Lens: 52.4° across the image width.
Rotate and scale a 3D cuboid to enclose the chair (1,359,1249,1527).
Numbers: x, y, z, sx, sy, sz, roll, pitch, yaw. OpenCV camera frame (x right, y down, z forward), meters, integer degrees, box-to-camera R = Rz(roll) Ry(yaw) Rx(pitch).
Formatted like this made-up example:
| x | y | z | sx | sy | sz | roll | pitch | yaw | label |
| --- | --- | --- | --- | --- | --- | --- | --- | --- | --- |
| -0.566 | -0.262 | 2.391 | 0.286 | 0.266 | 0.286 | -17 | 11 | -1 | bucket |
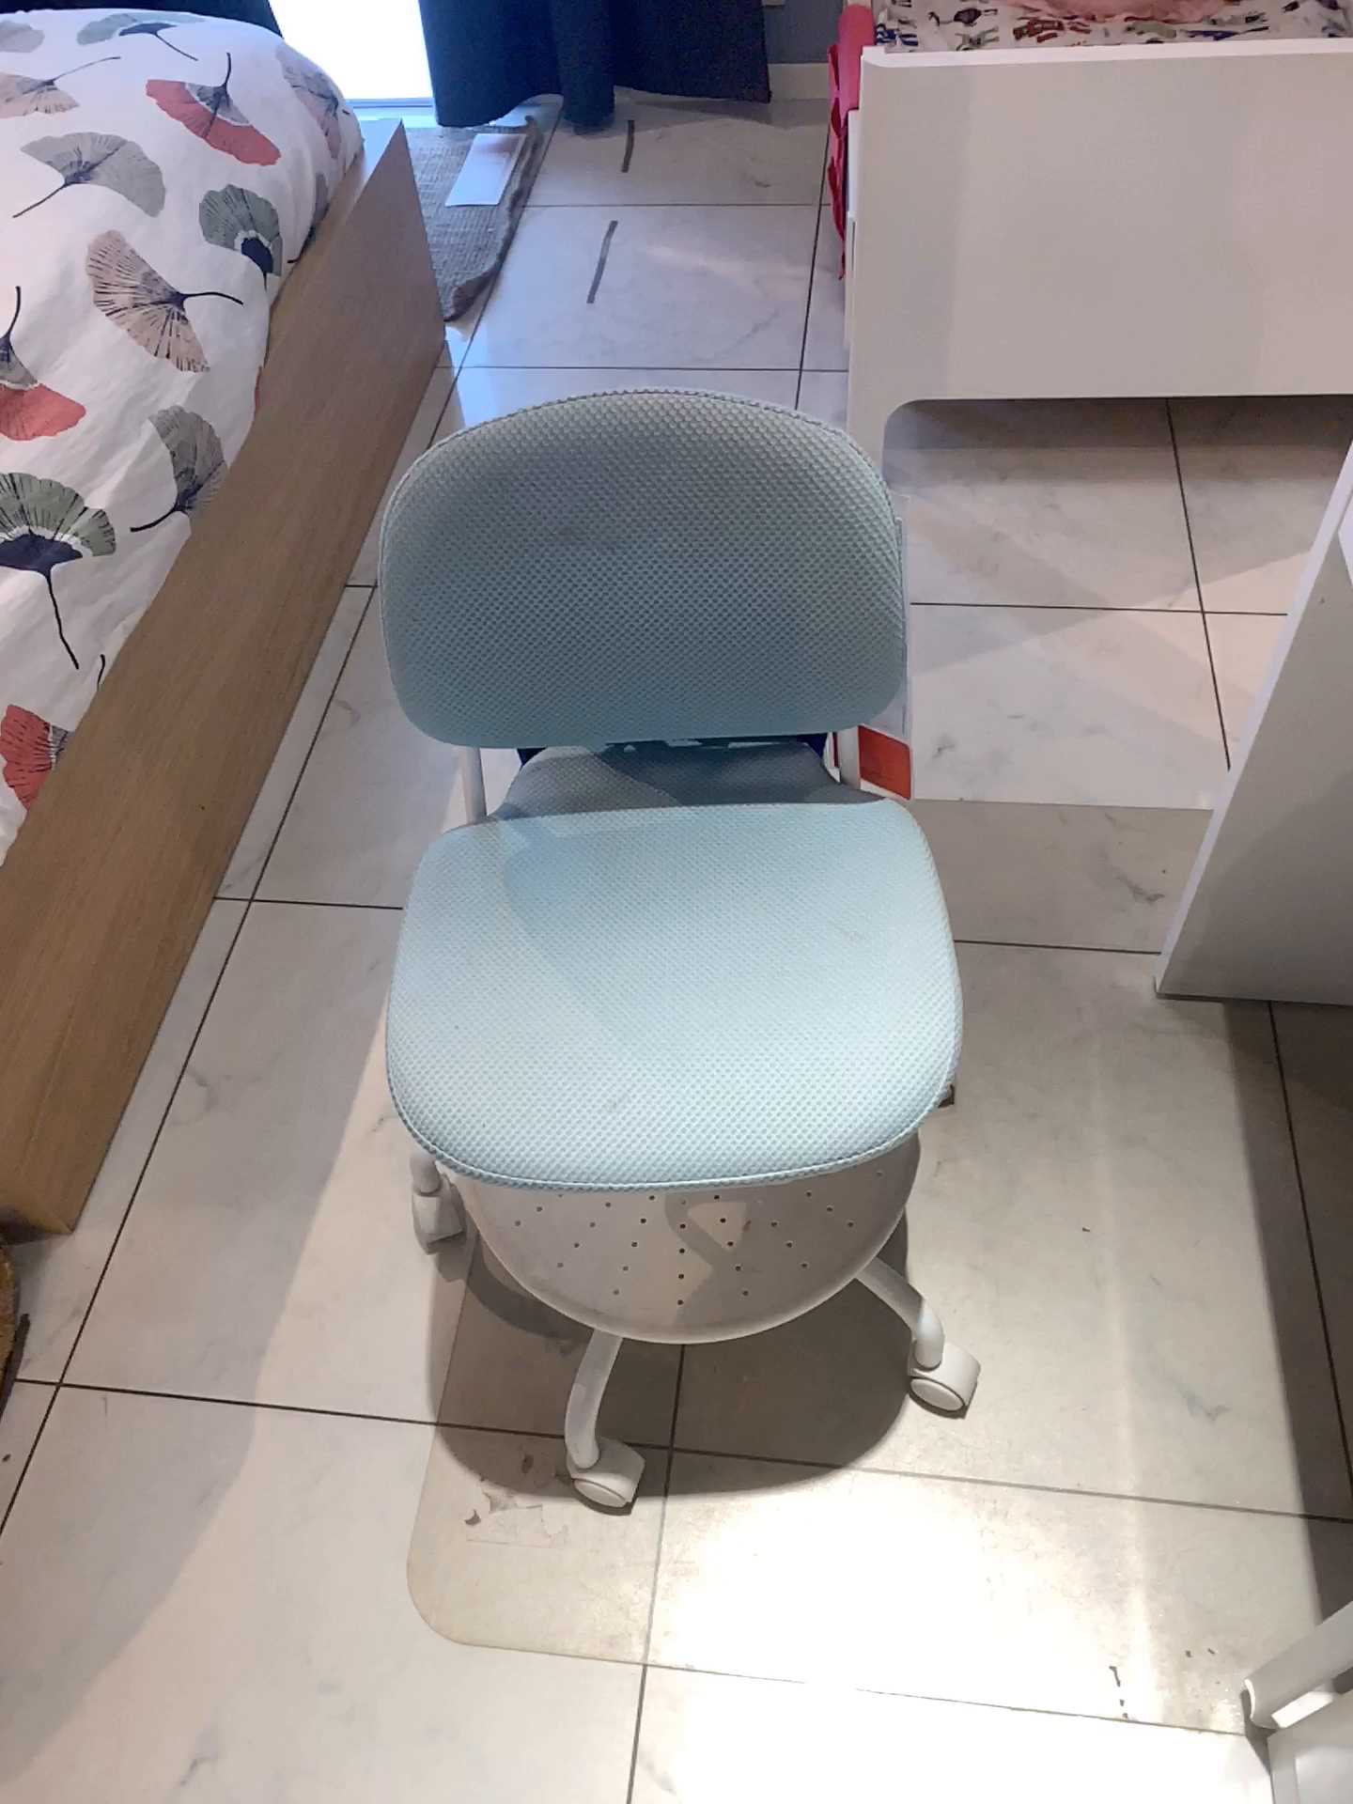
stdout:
| x | y | z | sx | sy | sz | roll | pitch | yaw | label |
| --- | --- | --- | --- | --- | --- | --- | --- | --- | --- |
| -0.014 | 0.074 | 1.133 | 0.600 | 0.718 | 0.622 | -3 | 51 | 2 | chair |
